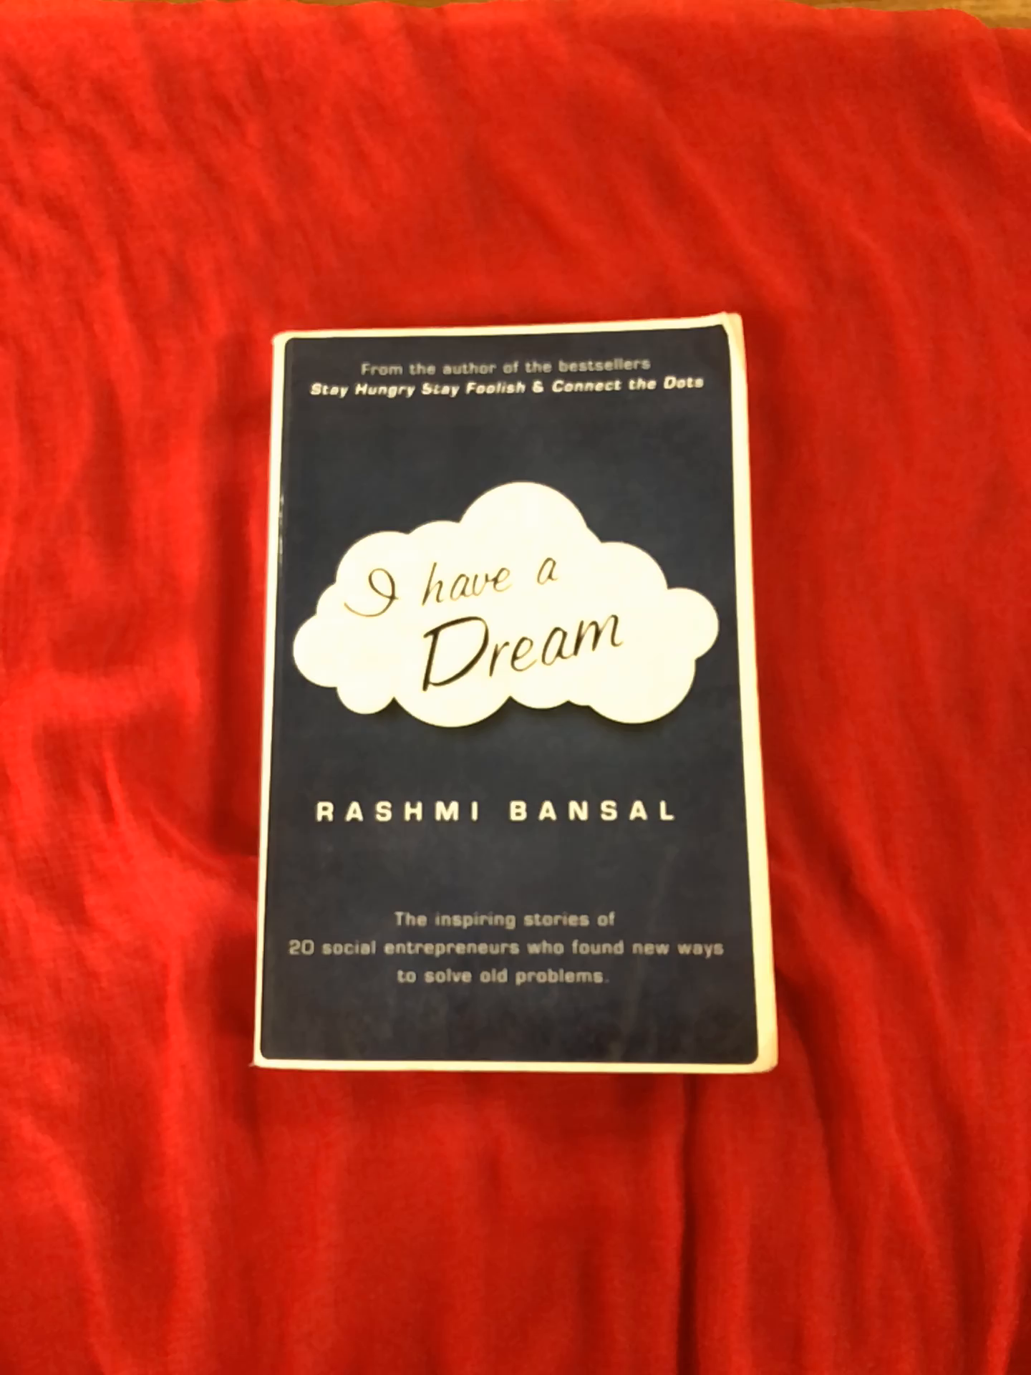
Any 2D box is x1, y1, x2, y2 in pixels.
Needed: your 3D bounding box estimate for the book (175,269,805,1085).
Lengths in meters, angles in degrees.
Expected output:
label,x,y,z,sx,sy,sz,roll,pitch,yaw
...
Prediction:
label,x,y,z,sx,sy,sz,roll,pitch,yaw
book,-0.005,-0.003,0.292,0.140,0.040,0.190,-1,80,6
